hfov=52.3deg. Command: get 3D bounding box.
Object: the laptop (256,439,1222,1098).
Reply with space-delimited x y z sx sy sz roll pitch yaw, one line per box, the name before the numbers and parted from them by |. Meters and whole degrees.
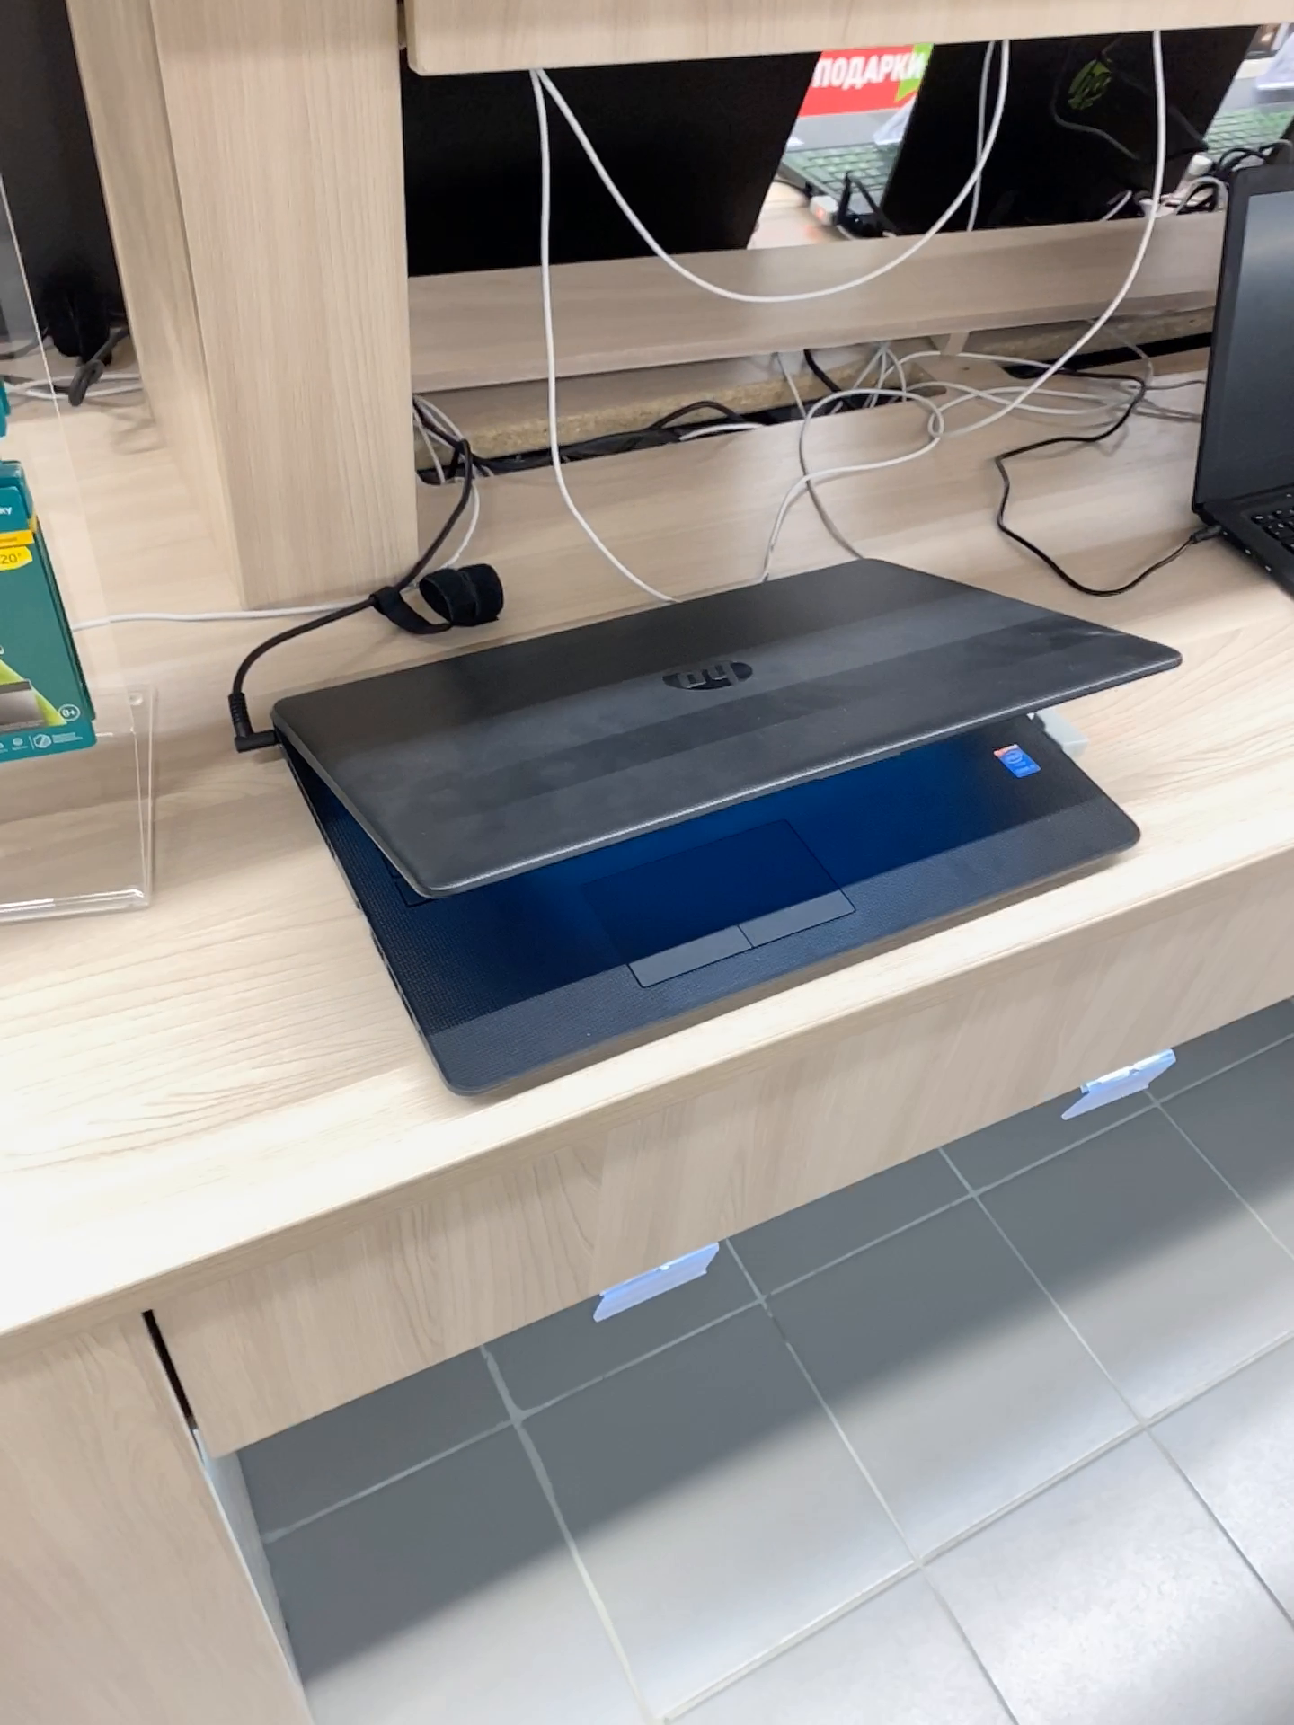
laptop | 0.038 -0.074 0.641 0.373 0.093 0.252 -17 51 -23
